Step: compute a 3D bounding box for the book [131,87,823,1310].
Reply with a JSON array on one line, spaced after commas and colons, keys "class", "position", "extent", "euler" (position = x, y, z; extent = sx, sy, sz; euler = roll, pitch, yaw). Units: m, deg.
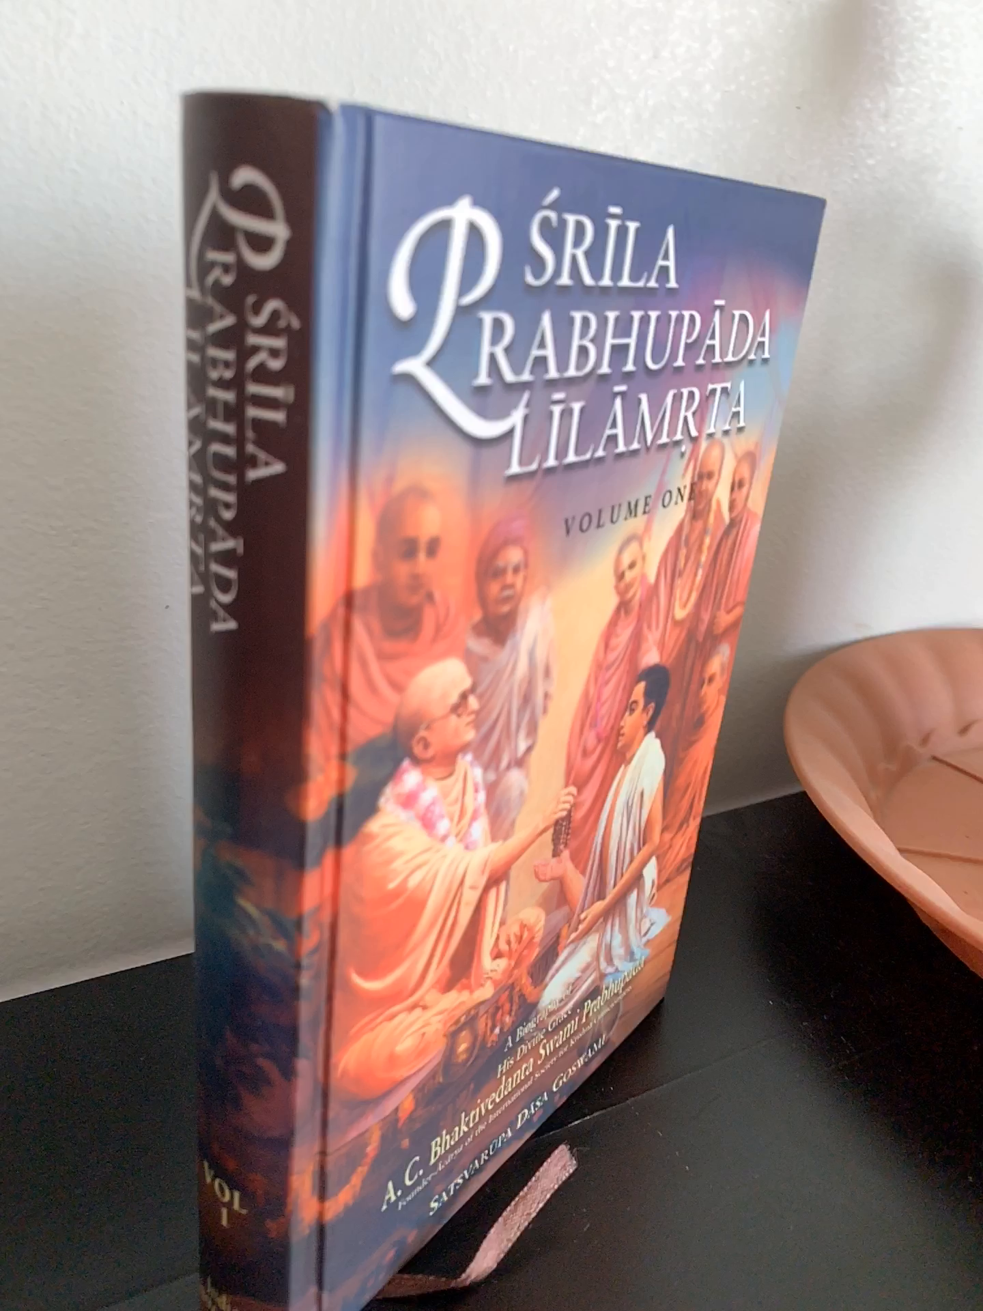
[{"class": "book", "position": [0.005, 0.019, 0.227], "extent": [0.030, 0.233, 0.162], "euler": [21, 26, 33]}]
